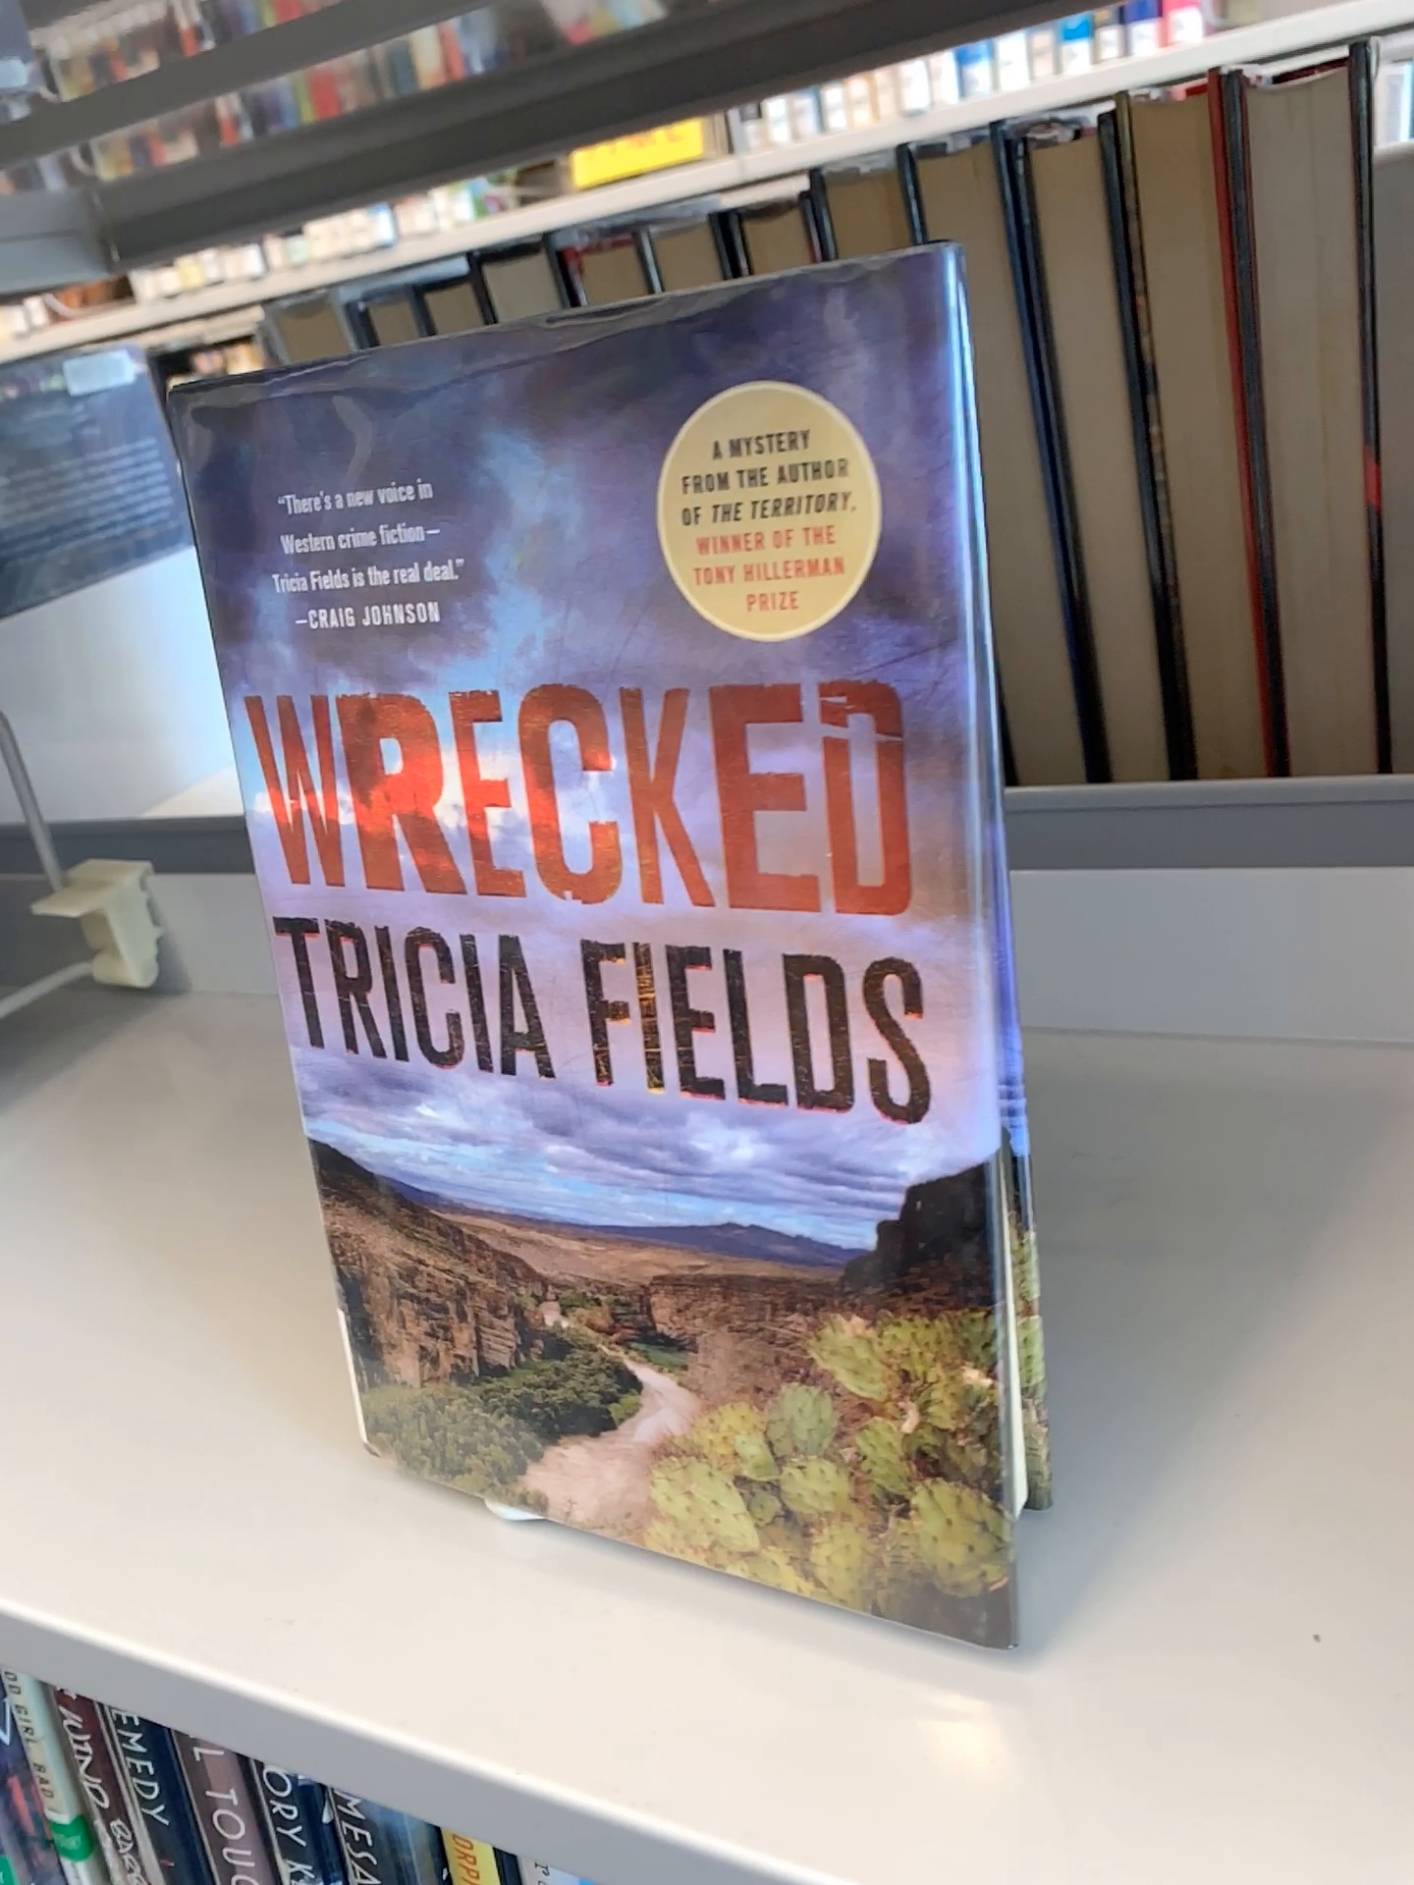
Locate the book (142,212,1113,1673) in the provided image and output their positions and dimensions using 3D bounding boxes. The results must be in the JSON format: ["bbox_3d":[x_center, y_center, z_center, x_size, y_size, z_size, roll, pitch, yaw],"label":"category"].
[{"bbox_3d":[-0.012,0.006,0.256,0.147,0.213,0.035,2,18,30],"label":"book"}]
